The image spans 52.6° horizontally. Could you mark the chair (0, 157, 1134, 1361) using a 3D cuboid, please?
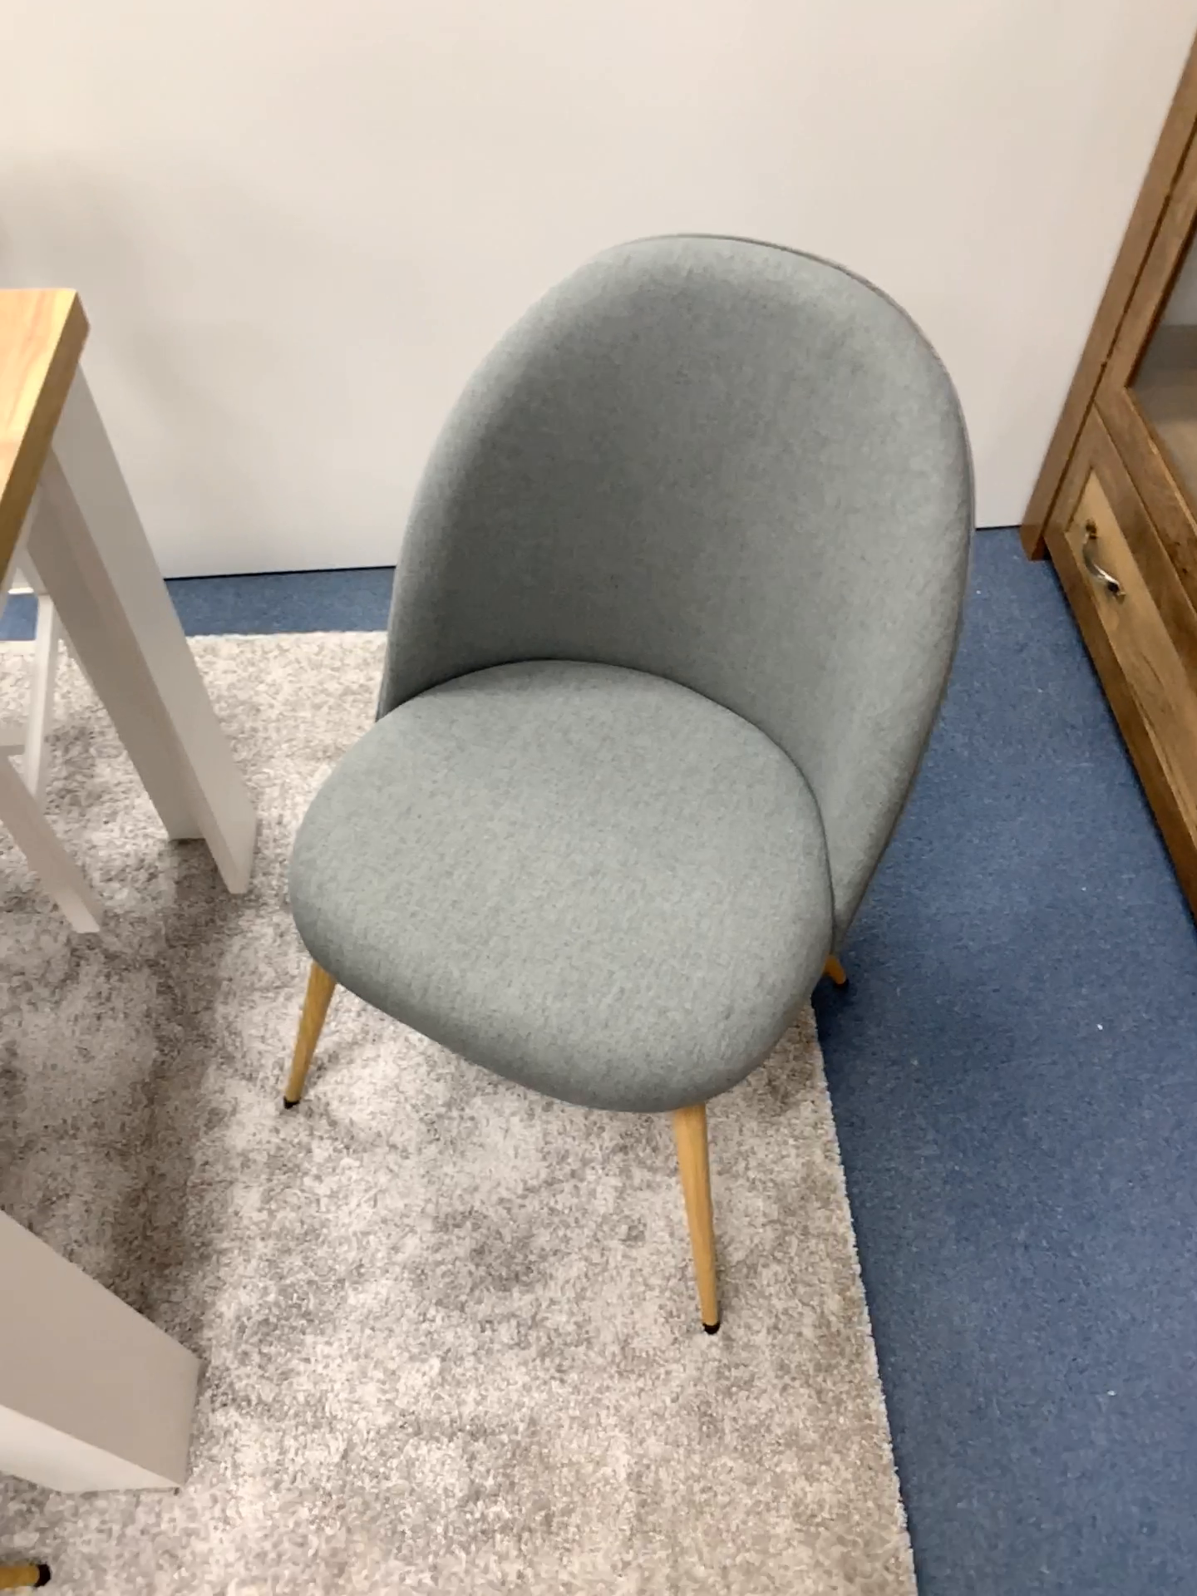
[{"bbox_3d":[0.010,0.000,1.048,0.530,0.738,0.571,21,56,15],"label":"chair"}]
